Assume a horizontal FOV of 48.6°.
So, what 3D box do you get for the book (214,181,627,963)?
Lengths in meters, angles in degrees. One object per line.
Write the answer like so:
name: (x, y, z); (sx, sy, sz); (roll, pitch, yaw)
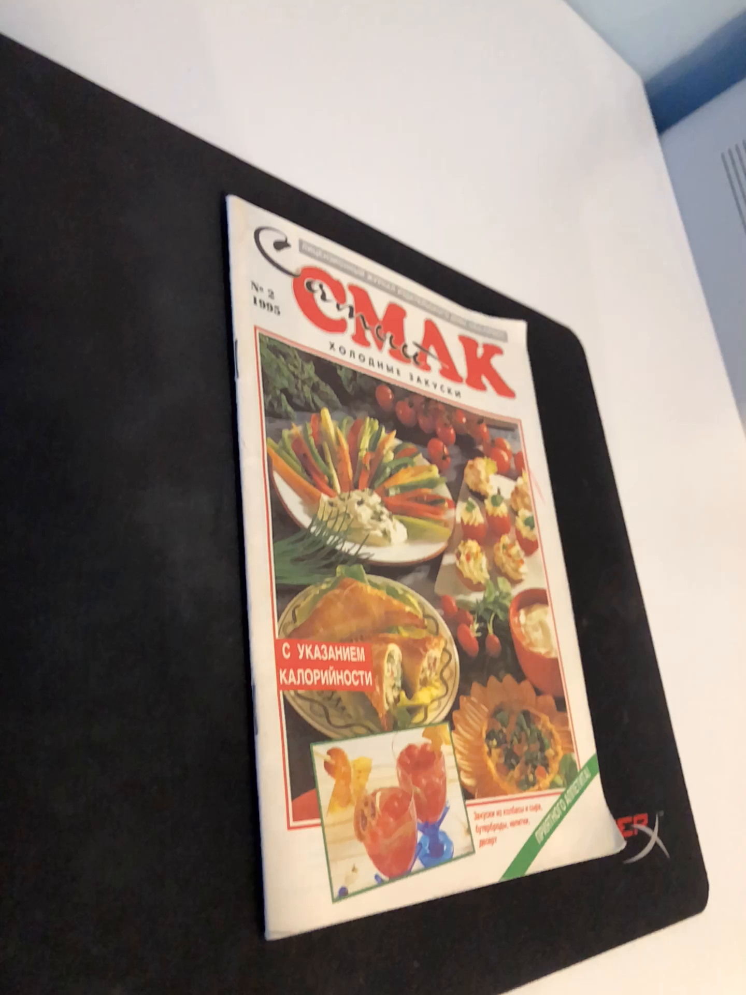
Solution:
book: (0.020, 0.017, 0.293); (0.161, 0.010, 0.230); (12, 63, -42)
